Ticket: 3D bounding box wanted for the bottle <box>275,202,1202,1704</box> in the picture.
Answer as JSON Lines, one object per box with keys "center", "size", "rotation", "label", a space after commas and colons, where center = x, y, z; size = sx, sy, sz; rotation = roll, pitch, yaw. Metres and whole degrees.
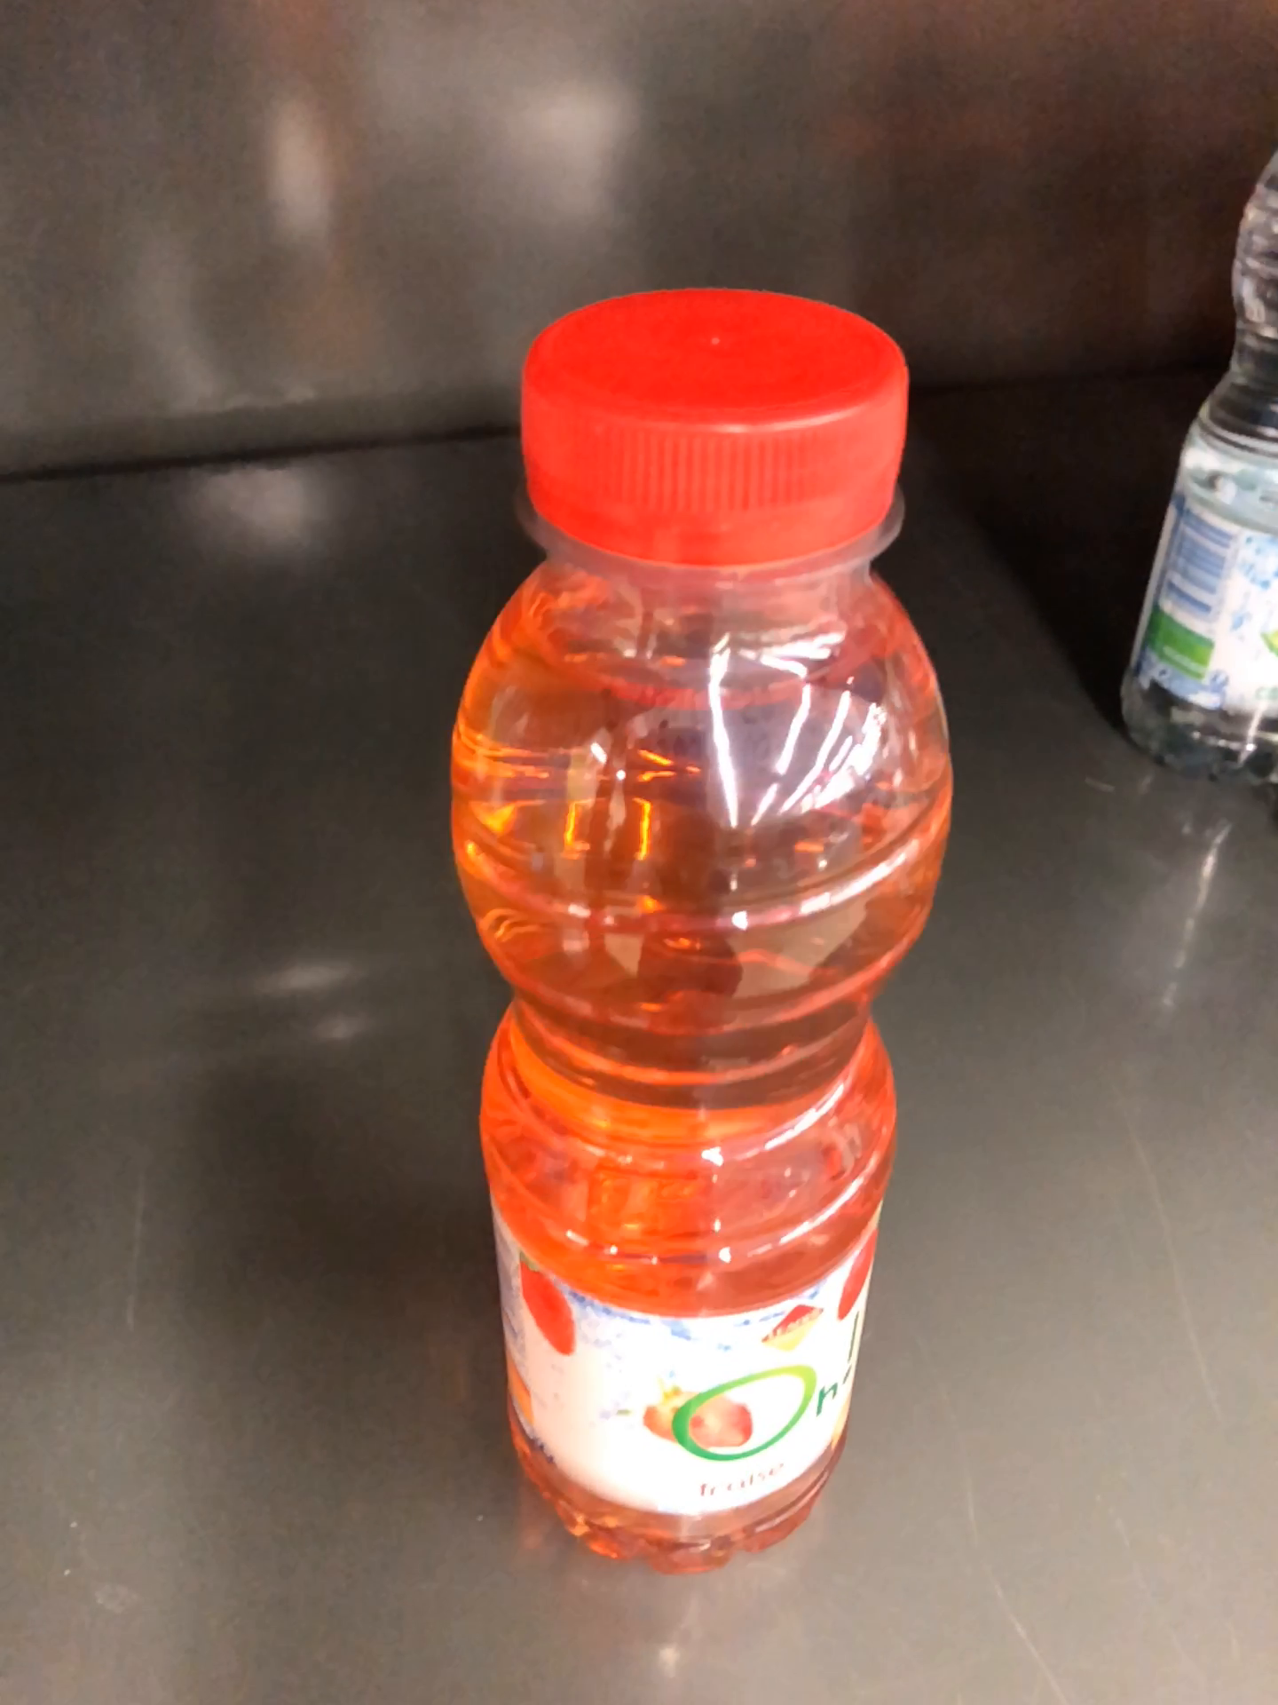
{"center": [0.005, 0.032, 0.197], "size": [0.070, 0.209, 0.060], "rotation": [-11, 39, -13], "label": "bottle"}
